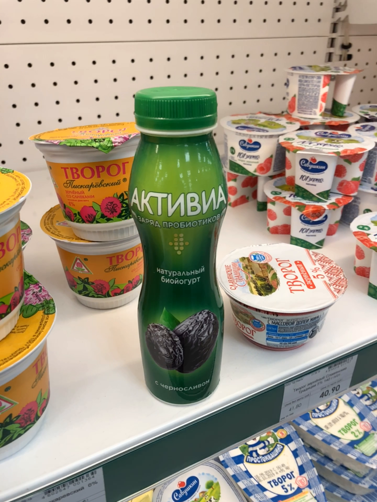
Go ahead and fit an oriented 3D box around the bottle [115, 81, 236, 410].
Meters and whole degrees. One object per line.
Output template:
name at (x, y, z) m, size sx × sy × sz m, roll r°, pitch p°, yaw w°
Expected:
bottle at (-0.004, 0.005, 0.241) m, size 0.050 × 0.185 × 0.054 m, roll 0°, pitch 29°, yaw 0°
